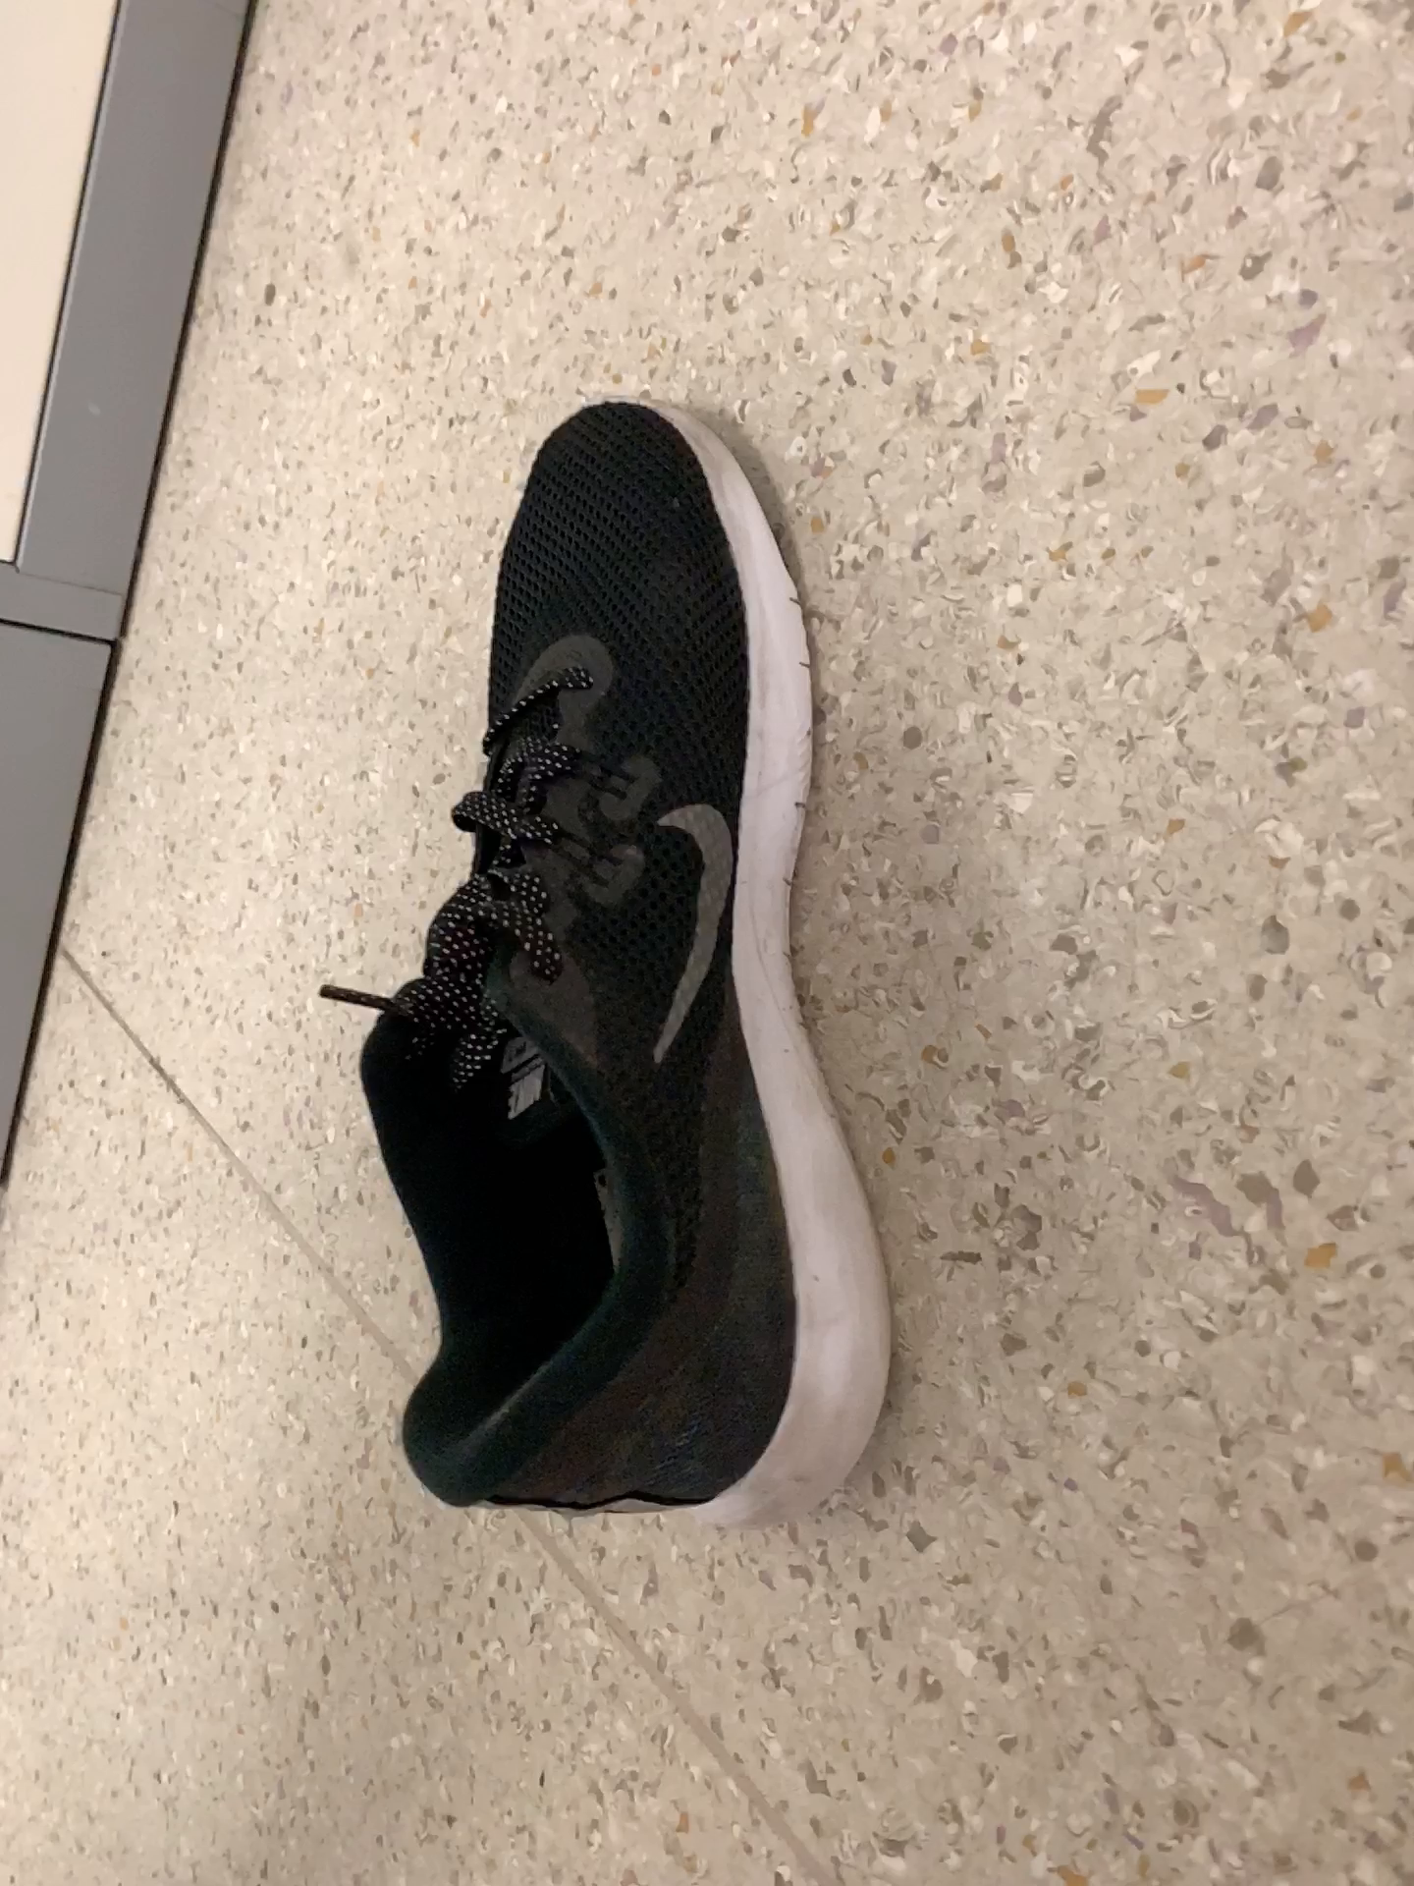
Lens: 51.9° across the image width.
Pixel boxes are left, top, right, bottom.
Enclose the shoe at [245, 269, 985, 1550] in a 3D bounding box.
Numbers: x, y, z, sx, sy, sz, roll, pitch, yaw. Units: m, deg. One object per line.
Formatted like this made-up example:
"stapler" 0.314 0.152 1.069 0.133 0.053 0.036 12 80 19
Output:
"shoe" -0.033 -0.002 0.341 0.114 0.093 0.253 -24 67 43
